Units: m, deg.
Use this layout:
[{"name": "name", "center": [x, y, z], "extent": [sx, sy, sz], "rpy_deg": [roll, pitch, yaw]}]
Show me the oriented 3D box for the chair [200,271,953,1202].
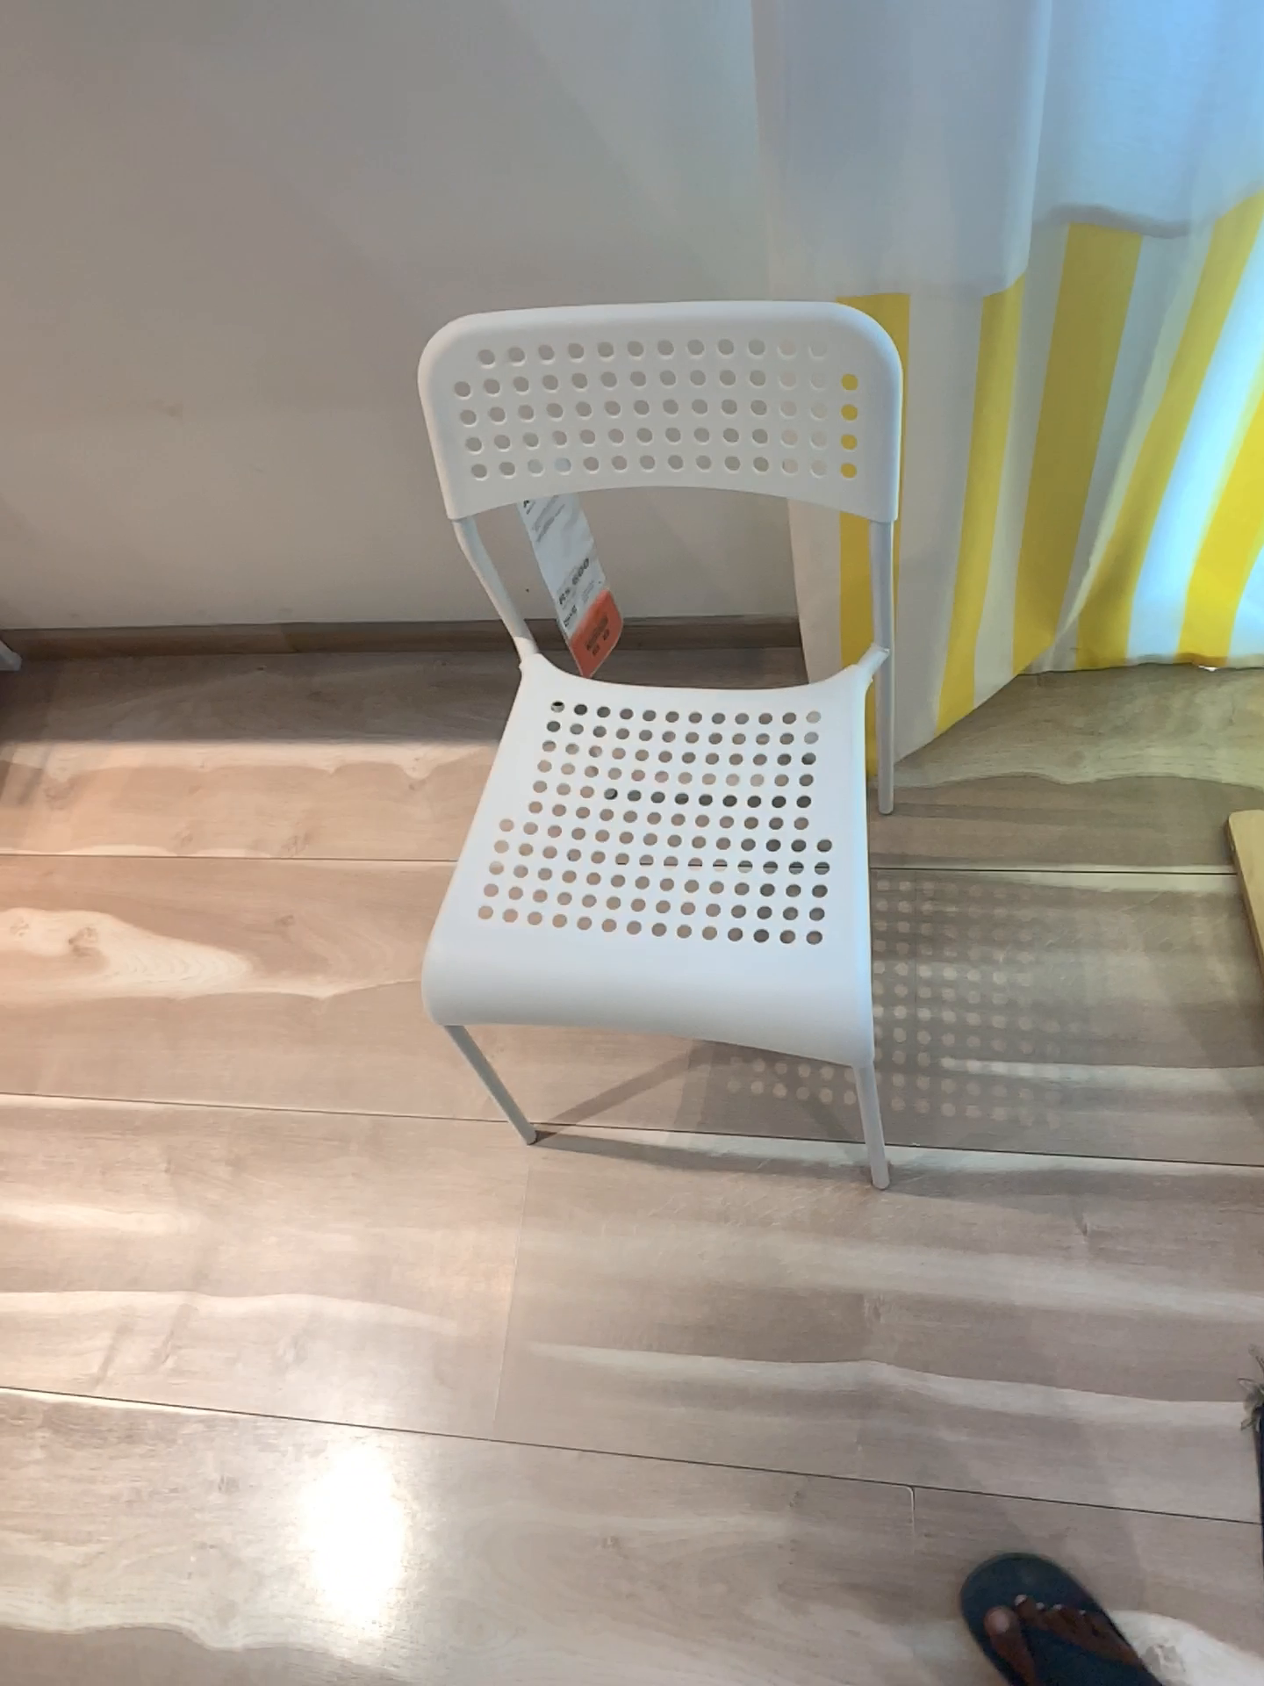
[{"name": "chair", "center": [0.041, -0.038, 1.152], "extent": [0.440, 0.659, 0.531], "rpy_deg": [2, 64, 13]}]
